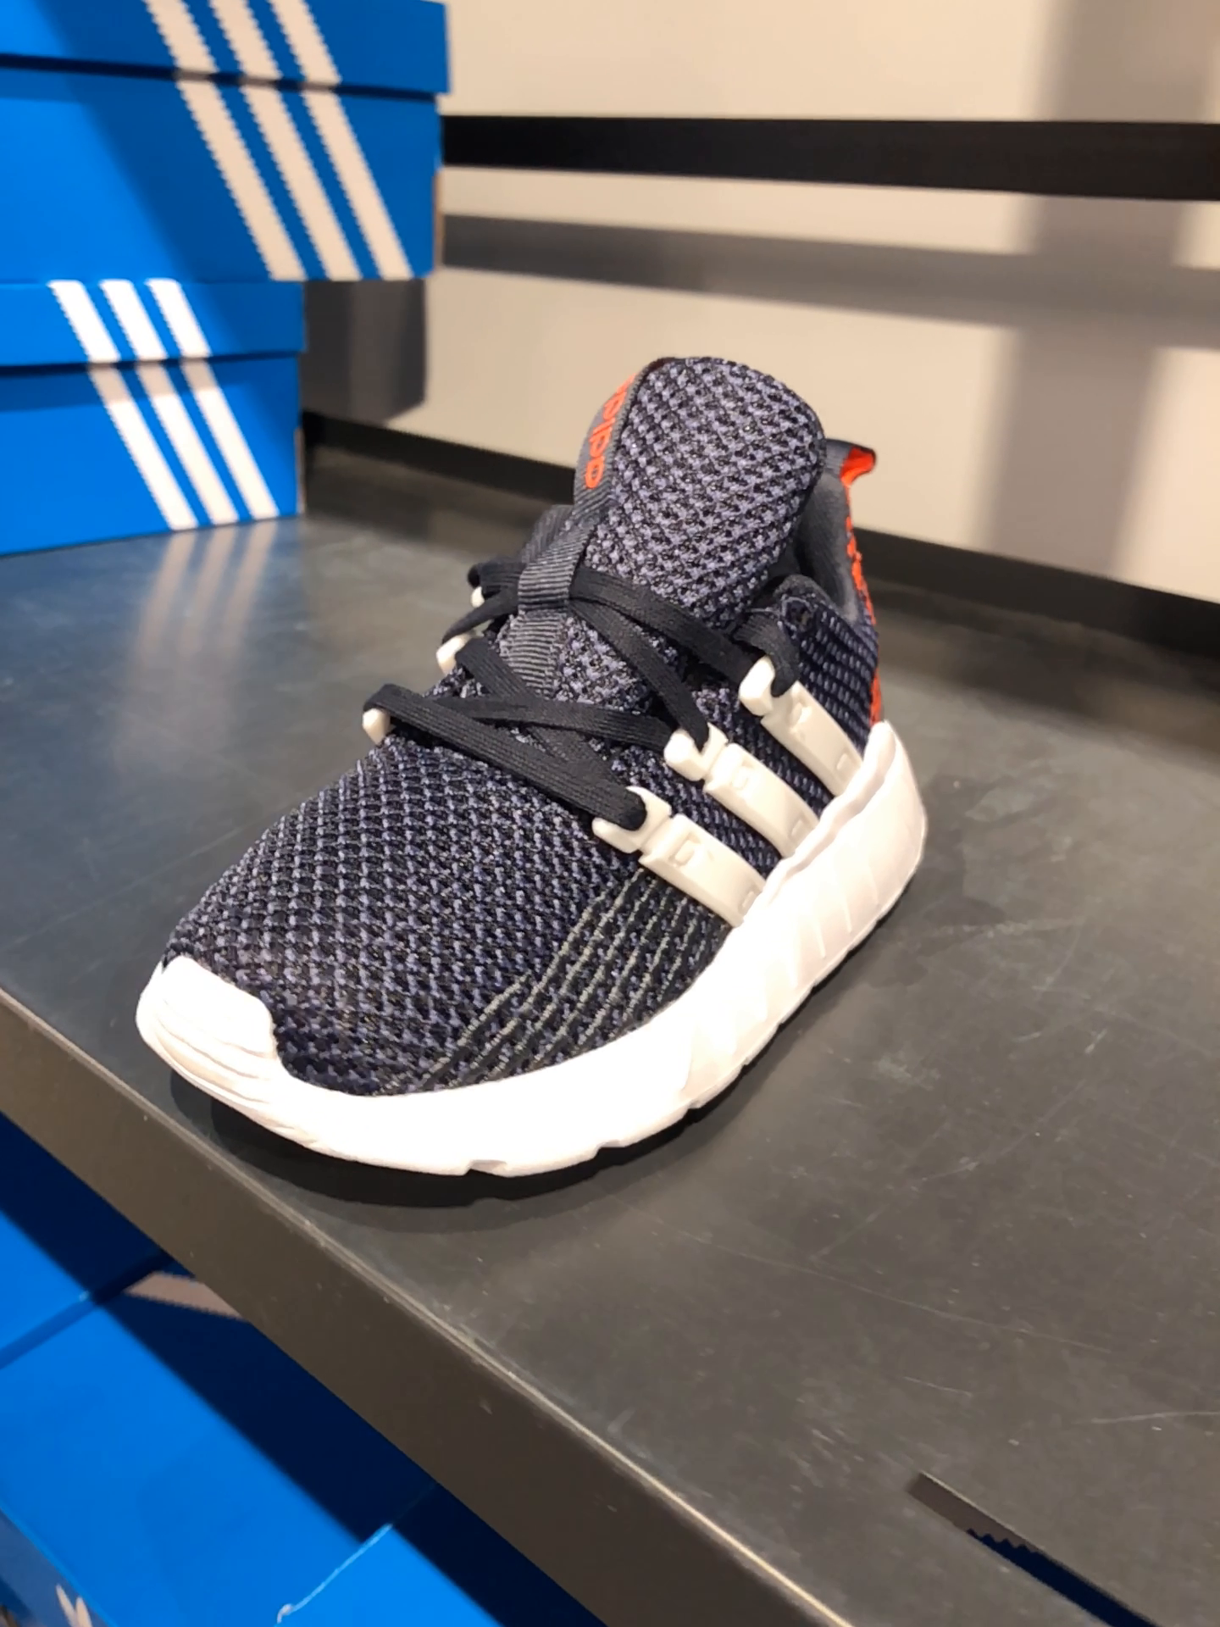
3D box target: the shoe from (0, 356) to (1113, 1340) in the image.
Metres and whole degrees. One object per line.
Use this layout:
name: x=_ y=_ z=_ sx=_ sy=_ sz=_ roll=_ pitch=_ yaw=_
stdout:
shoe: x=0.004 y=-0.020 z=0.266 sx=0.090 sy=0.110 sz=0.200 roll=21 pitch=31 yaw=35
